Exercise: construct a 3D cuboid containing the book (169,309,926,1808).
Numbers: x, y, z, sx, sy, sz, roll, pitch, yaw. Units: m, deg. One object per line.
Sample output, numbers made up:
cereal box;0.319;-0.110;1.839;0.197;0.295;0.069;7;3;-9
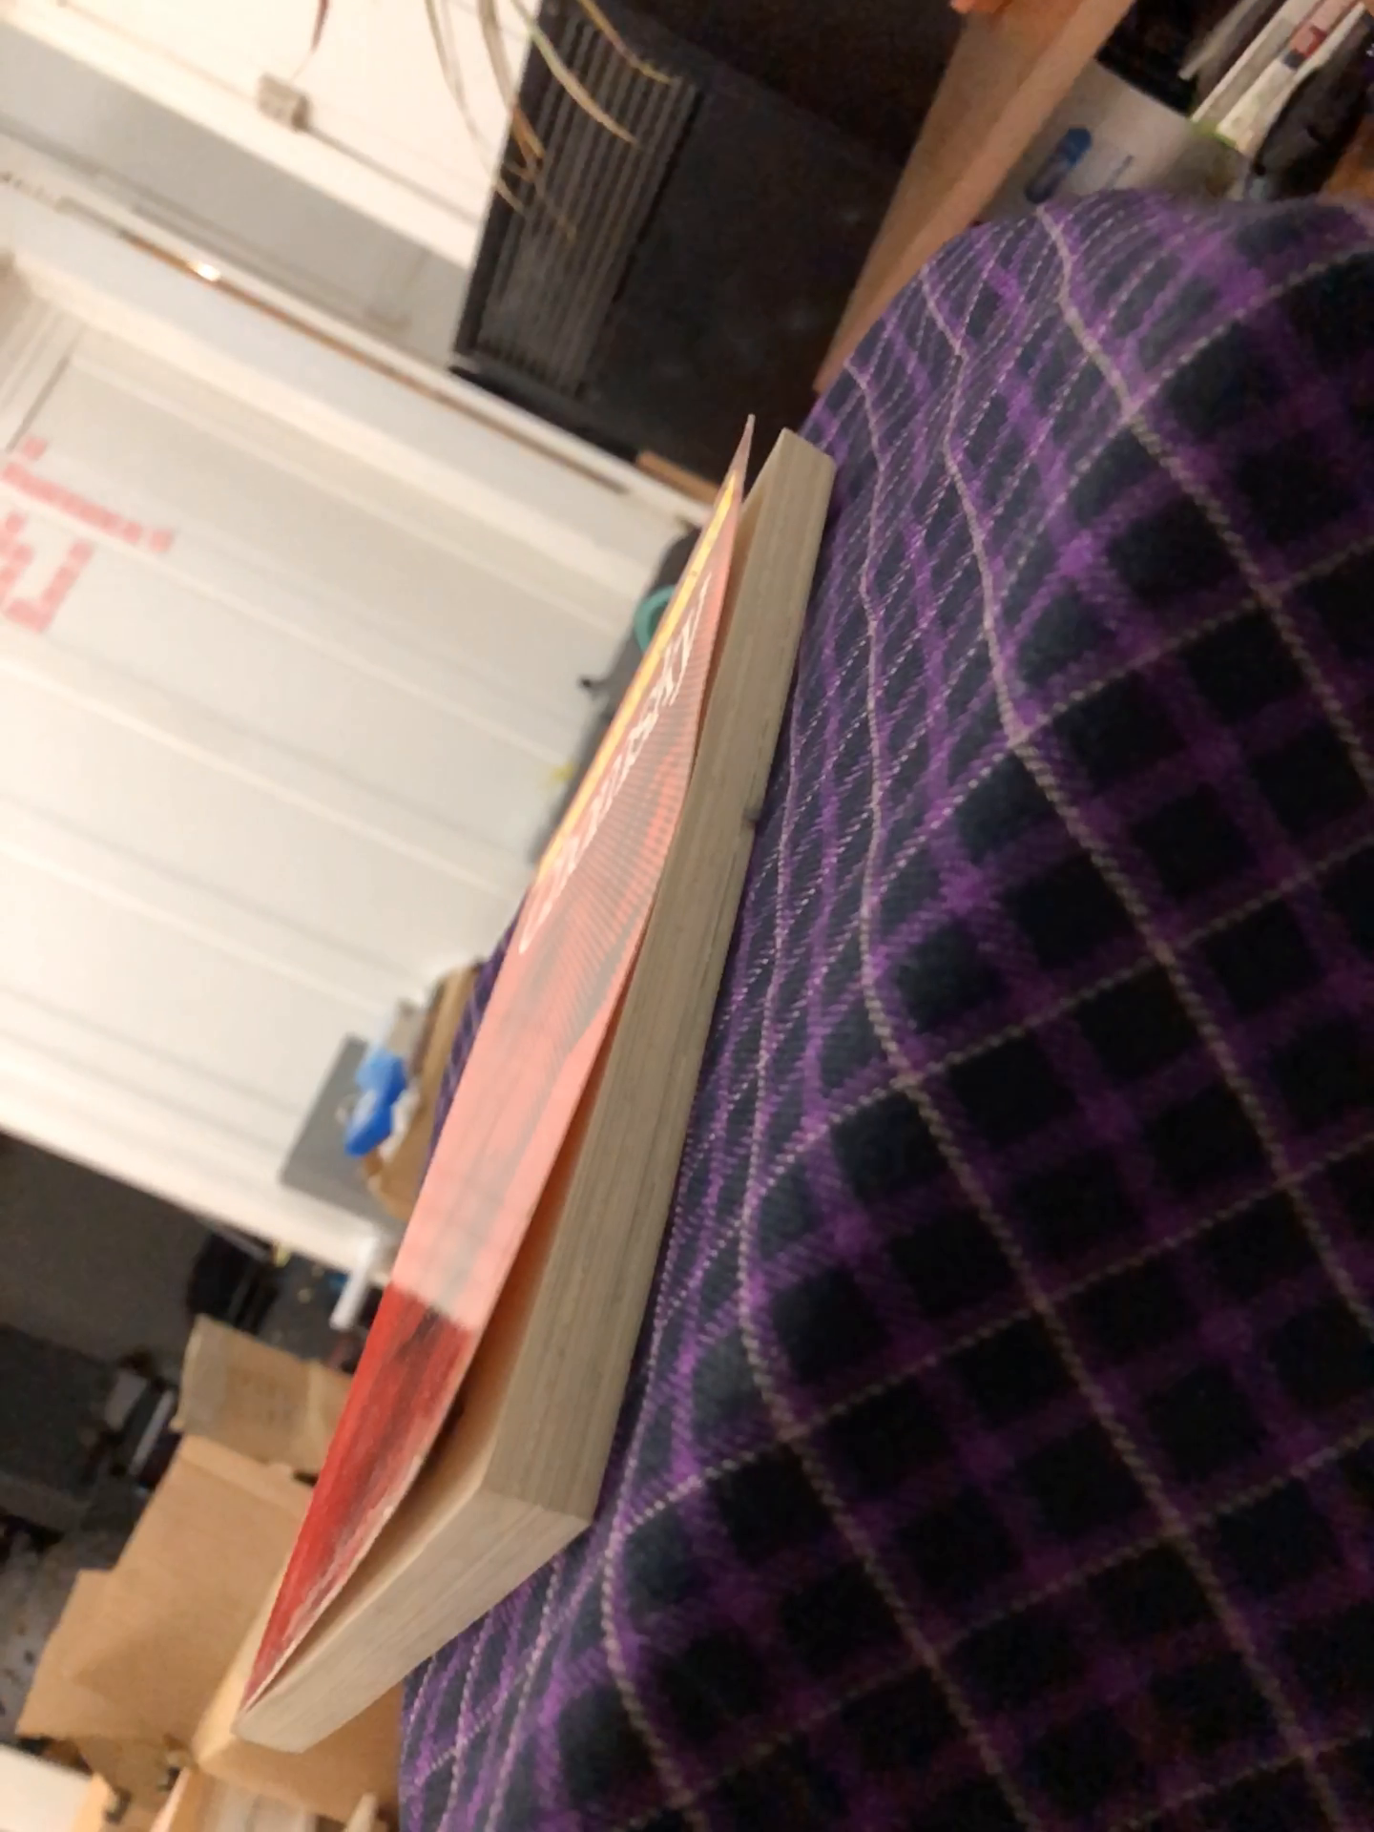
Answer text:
book;-0.022;0.020;0.290;0.180;0.020;0.241;-54;14;46
